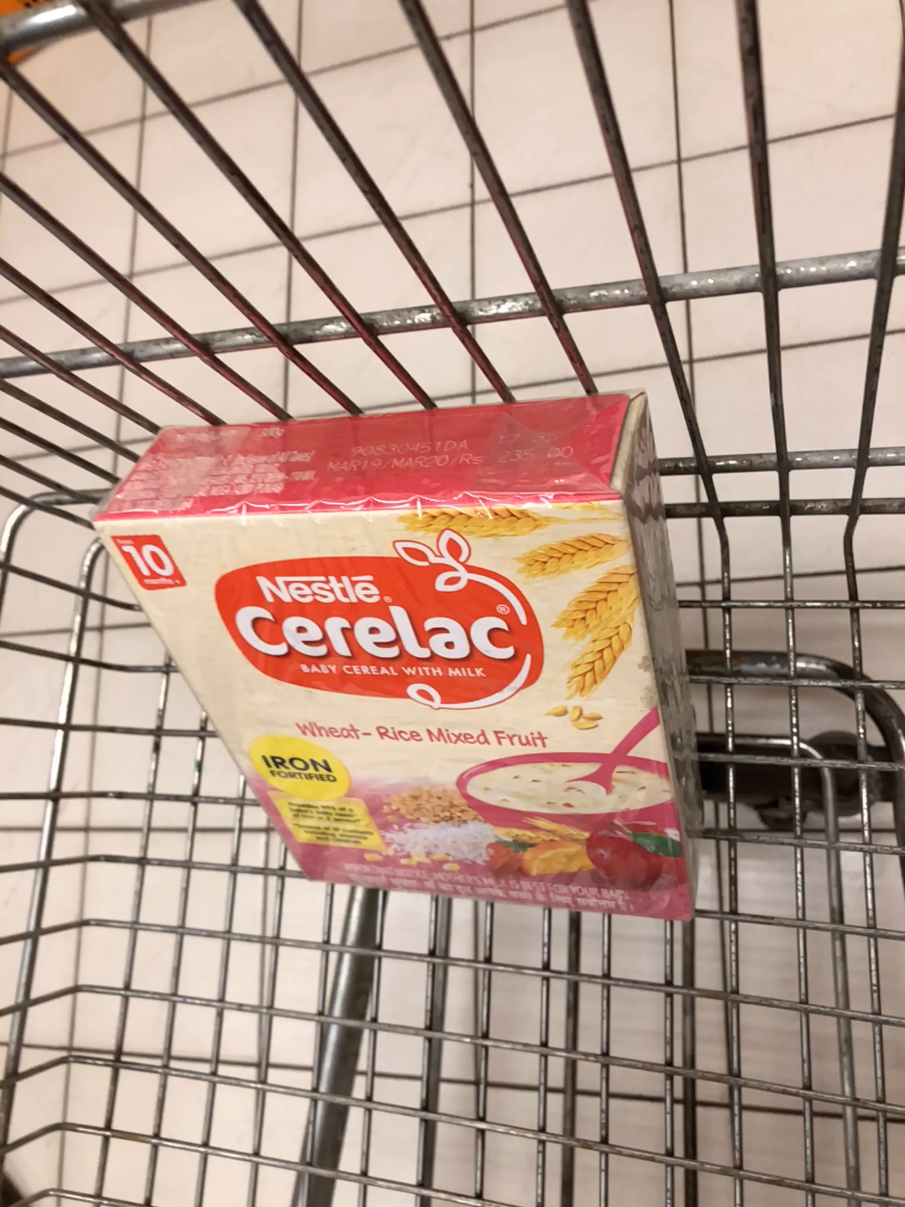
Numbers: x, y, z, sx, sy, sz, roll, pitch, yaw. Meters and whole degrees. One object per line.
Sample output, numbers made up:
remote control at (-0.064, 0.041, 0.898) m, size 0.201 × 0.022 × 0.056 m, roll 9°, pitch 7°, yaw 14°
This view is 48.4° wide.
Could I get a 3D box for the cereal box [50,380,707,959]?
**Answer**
cereal box at (-0.005, 0.030, 0.314) m, size 0.150 × 0.179 × 0.060 m, roll 0°, pitch 44°, yaw 19°
